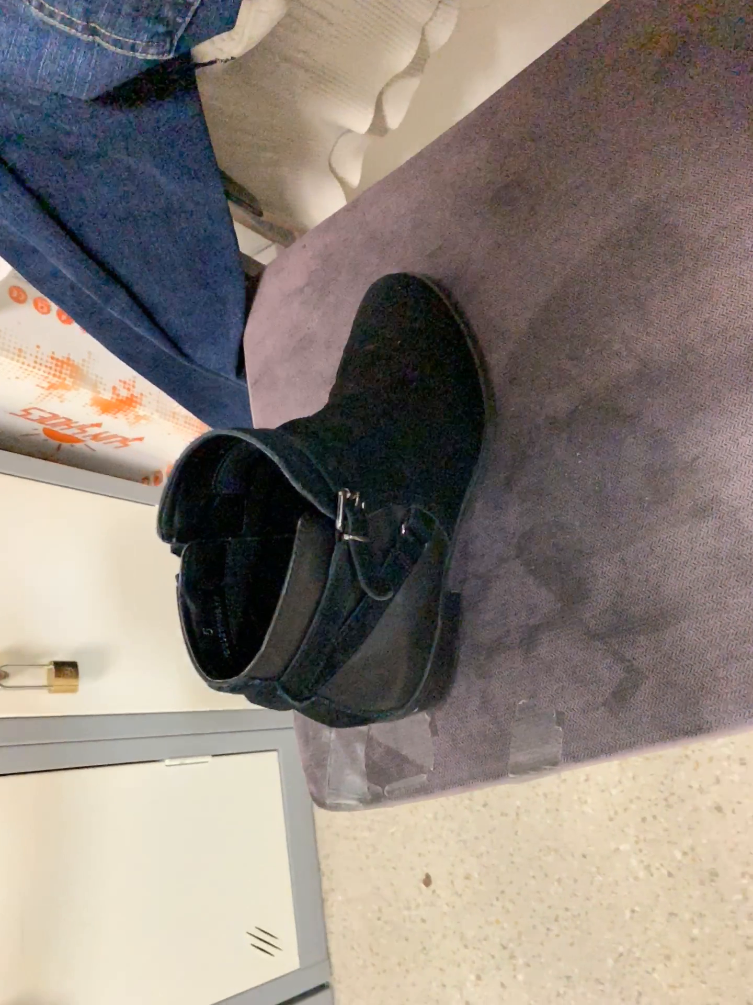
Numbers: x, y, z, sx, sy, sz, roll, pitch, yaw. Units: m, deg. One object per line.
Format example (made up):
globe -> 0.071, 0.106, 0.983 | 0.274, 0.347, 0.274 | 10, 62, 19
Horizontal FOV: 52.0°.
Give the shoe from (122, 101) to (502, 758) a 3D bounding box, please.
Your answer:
shoe -> -0.021, -0.023, 0.384 | 0.106, 0.135, 0.265 | -5, 76, 37
